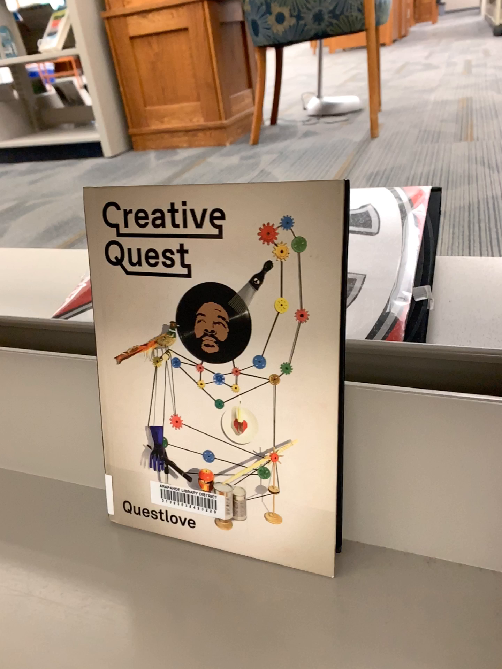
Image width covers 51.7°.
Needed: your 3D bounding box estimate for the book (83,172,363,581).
[{"bbox_3d":[-0.020,0.022,0.316,0.160,0.223,0.031,5,13,22],"label":"book"}]
